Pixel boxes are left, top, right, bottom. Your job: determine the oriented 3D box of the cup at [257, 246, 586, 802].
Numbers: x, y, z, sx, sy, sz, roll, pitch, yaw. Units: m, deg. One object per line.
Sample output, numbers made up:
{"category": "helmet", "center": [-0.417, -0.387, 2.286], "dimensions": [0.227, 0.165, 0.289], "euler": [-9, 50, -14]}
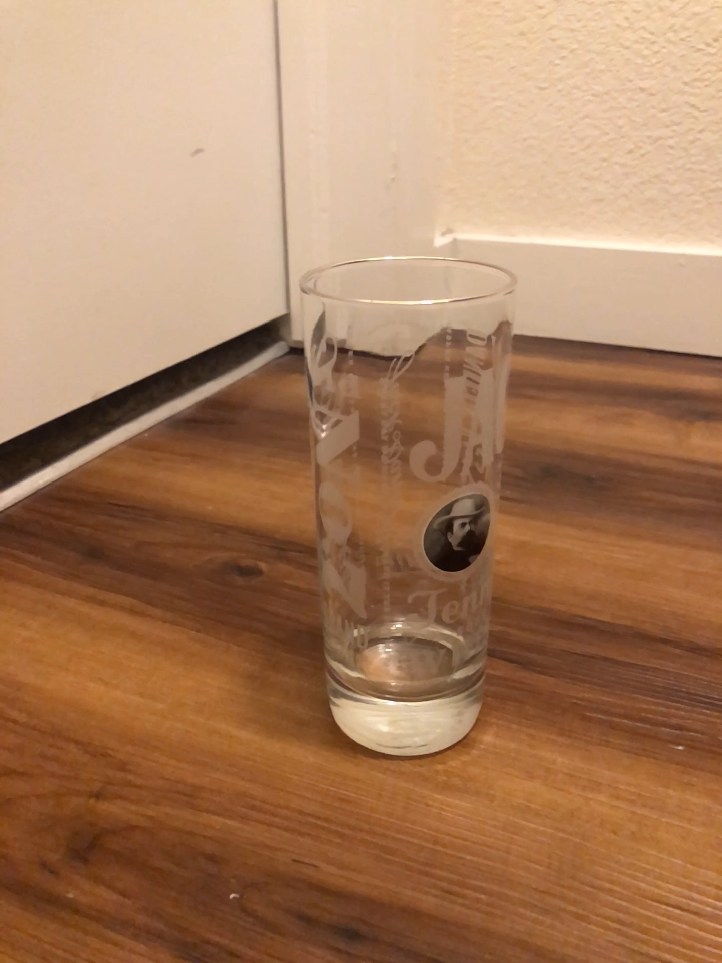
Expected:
{"category": "cup", "center": [0.015, 0.010, 0.254], "dimensions": [0.067, 0.150, 0.068], "euler": [-1, 25, 0]}
